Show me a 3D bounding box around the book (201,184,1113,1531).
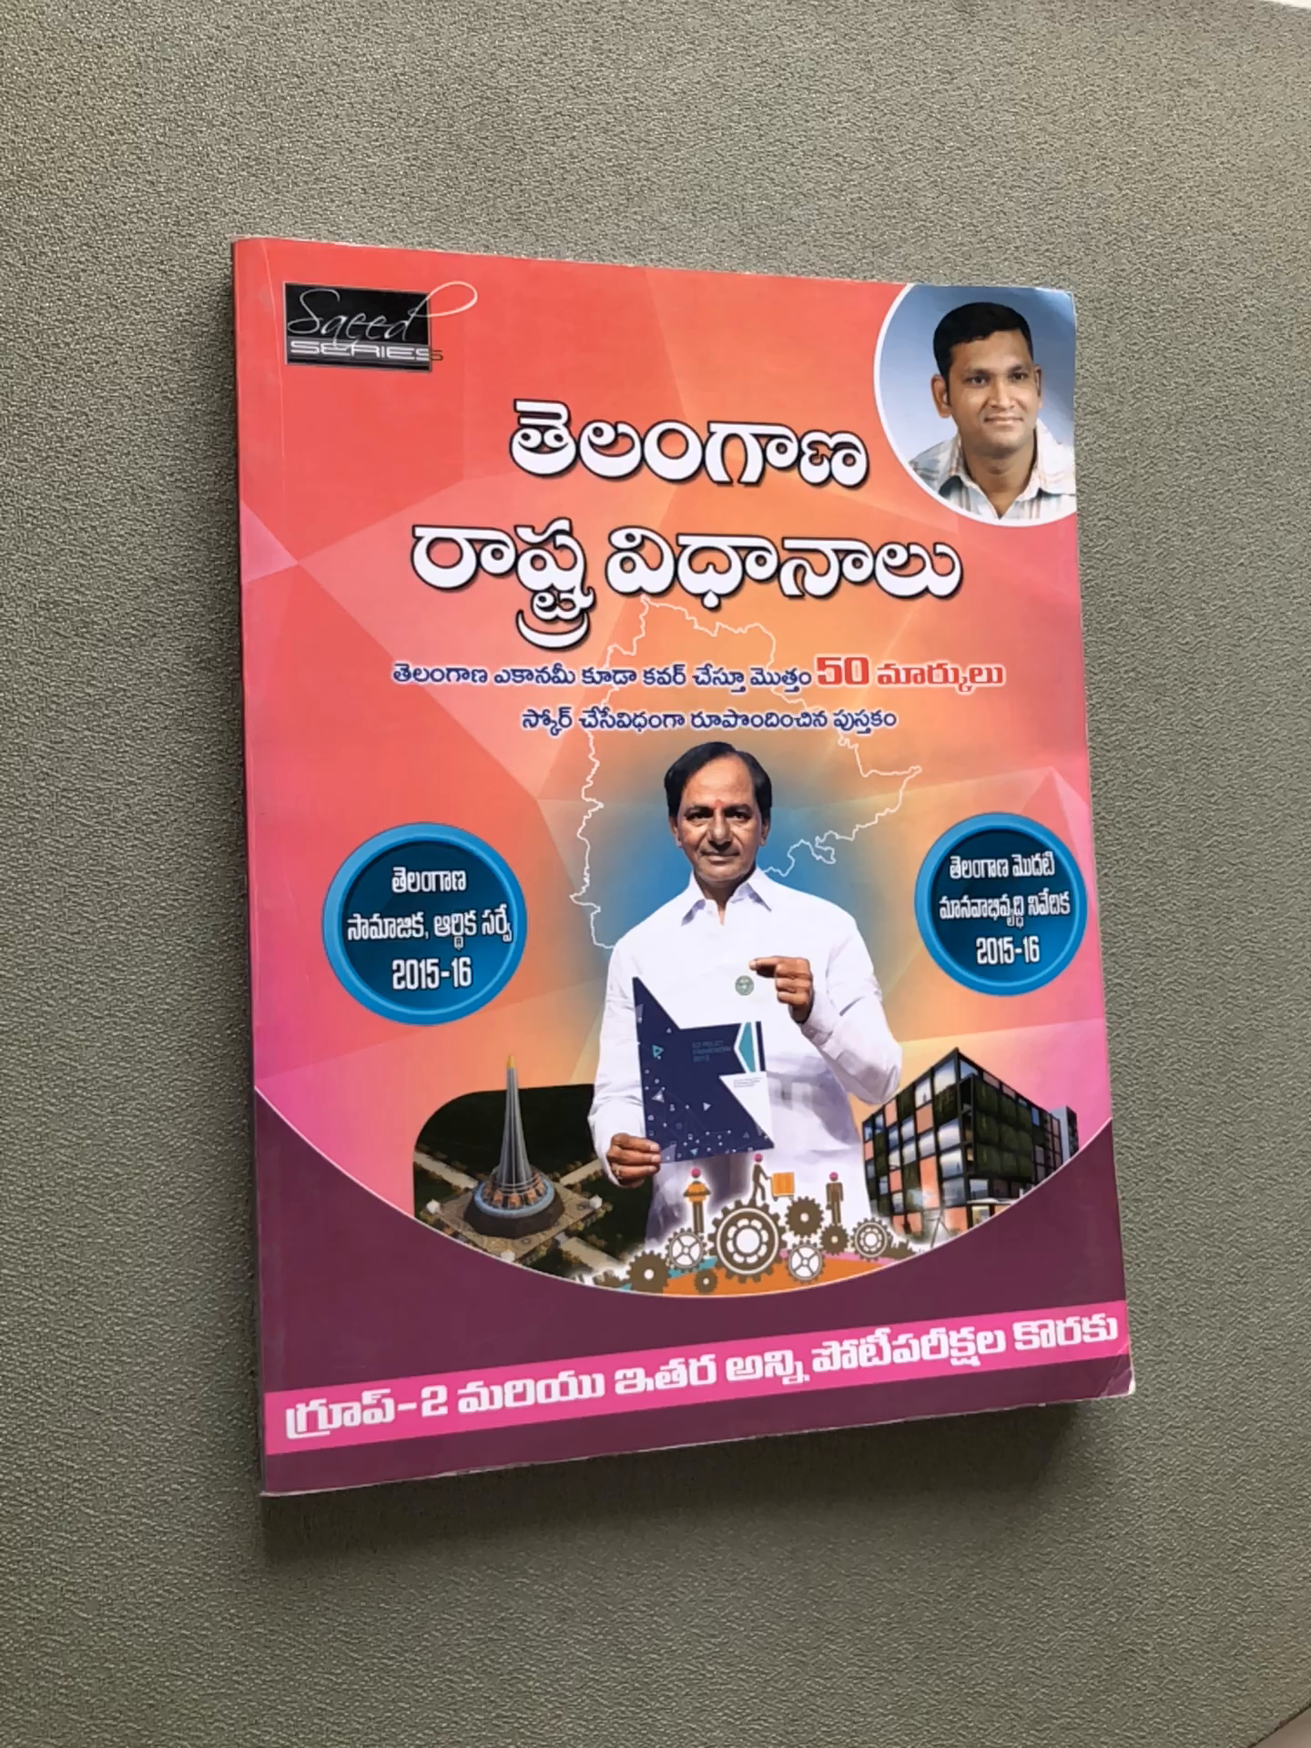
[{"bbox_3d":[0.001,-0.007,0.307,0.180,0.030,0.250,-1,86,-15],"label":"book"}]
